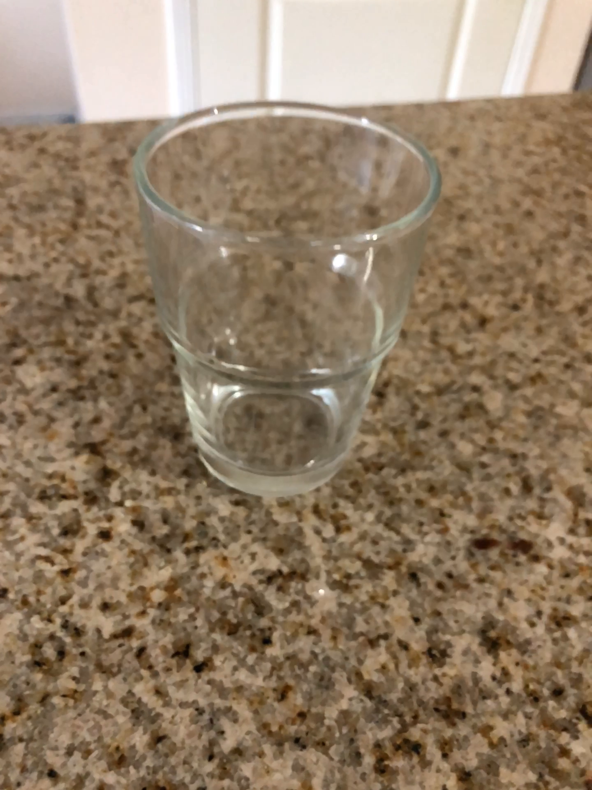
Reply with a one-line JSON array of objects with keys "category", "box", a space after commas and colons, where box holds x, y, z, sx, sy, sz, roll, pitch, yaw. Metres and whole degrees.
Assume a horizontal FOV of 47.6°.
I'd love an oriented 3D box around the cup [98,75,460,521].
[{"category": "cup", "box": [-0.004, -0.030, 0.209, 0.070, 0.100, 0.070, 3, 44, -3]}]
